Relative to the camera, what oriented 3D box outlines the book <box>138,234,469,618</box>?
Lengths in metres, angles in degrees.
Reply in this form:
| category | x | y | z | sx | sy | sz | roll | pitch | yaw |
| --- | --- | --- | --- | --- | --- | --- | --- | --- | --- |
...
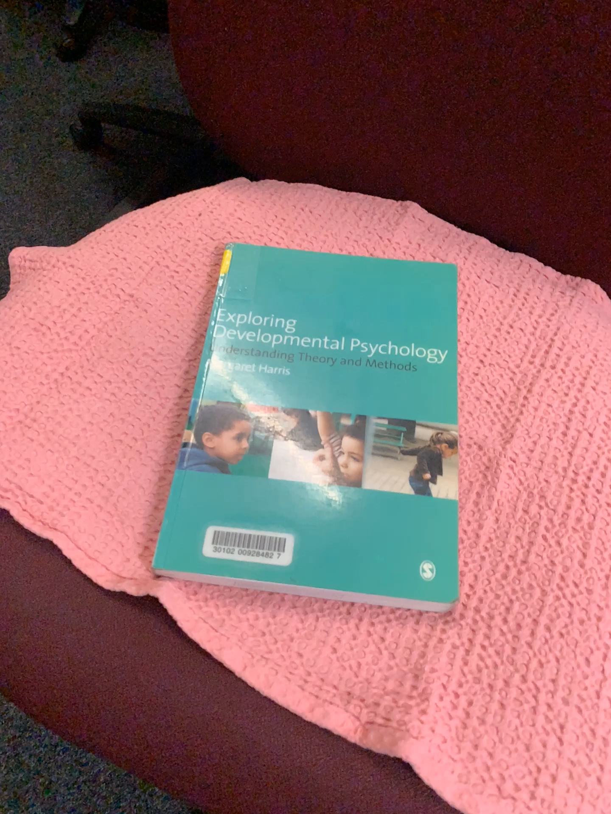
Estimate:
| category | x | y | z | sx | sy | sz | roll | pitch | yaw |
| --- | --- | --- | --- | --- | --- | --- | --- | --- | --- |
| book | 0.011 | -0.003 | 0.403 | 0.175 | 0.030 | 0.246 | 6 | 60 | 2 |
